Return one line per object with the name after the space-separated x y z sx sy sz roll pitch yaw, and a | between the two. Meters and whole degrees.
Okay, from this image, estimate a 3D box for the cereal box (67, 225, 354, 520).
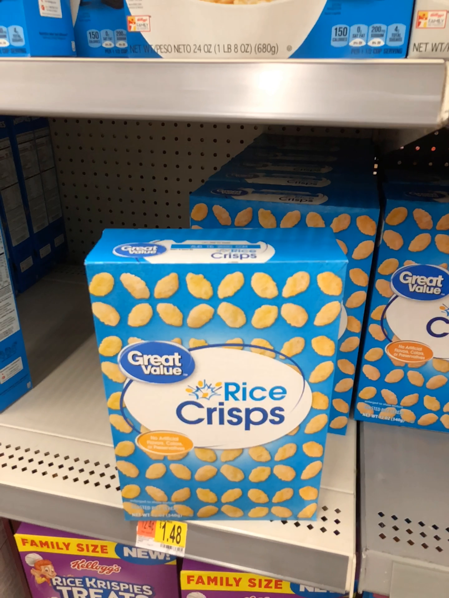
-0.008 0.076 0.438 0.200 0.269 0.070 -1 29 1 | cereal box
